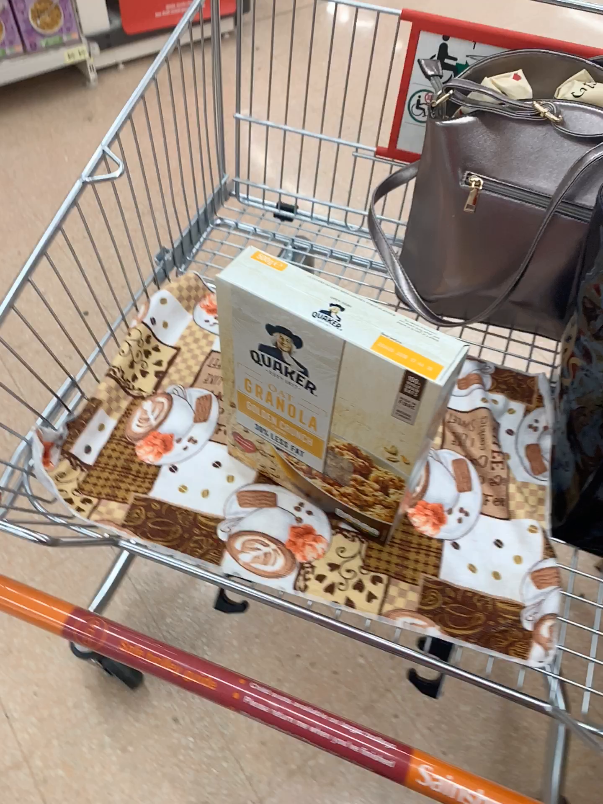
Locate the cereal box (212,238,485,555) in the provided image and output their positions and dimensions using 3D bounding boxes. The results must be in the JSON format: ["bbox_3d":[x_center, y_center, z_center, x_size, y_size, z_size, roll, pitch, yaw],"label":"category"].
[{"bbox_3d":[0.024,0.010,0.551,0.200,0.258,0.050,27,55,17],"label":"cereal box"}]
